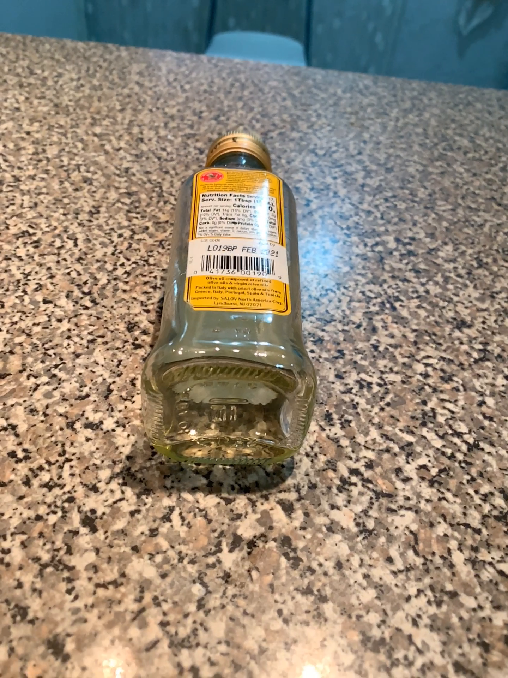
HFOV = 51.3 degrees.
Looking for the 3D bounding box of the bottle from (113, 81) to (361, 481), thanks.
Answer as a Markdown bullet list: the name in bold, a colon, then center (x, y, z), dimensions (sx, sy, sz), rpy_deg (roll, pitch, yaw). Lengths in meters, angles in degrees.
- **bottle**: center (-0.007, -0.040, 0.214), dimensions (0.060, 0.060, 0.181), rpy_deg (3, 43, -4)
